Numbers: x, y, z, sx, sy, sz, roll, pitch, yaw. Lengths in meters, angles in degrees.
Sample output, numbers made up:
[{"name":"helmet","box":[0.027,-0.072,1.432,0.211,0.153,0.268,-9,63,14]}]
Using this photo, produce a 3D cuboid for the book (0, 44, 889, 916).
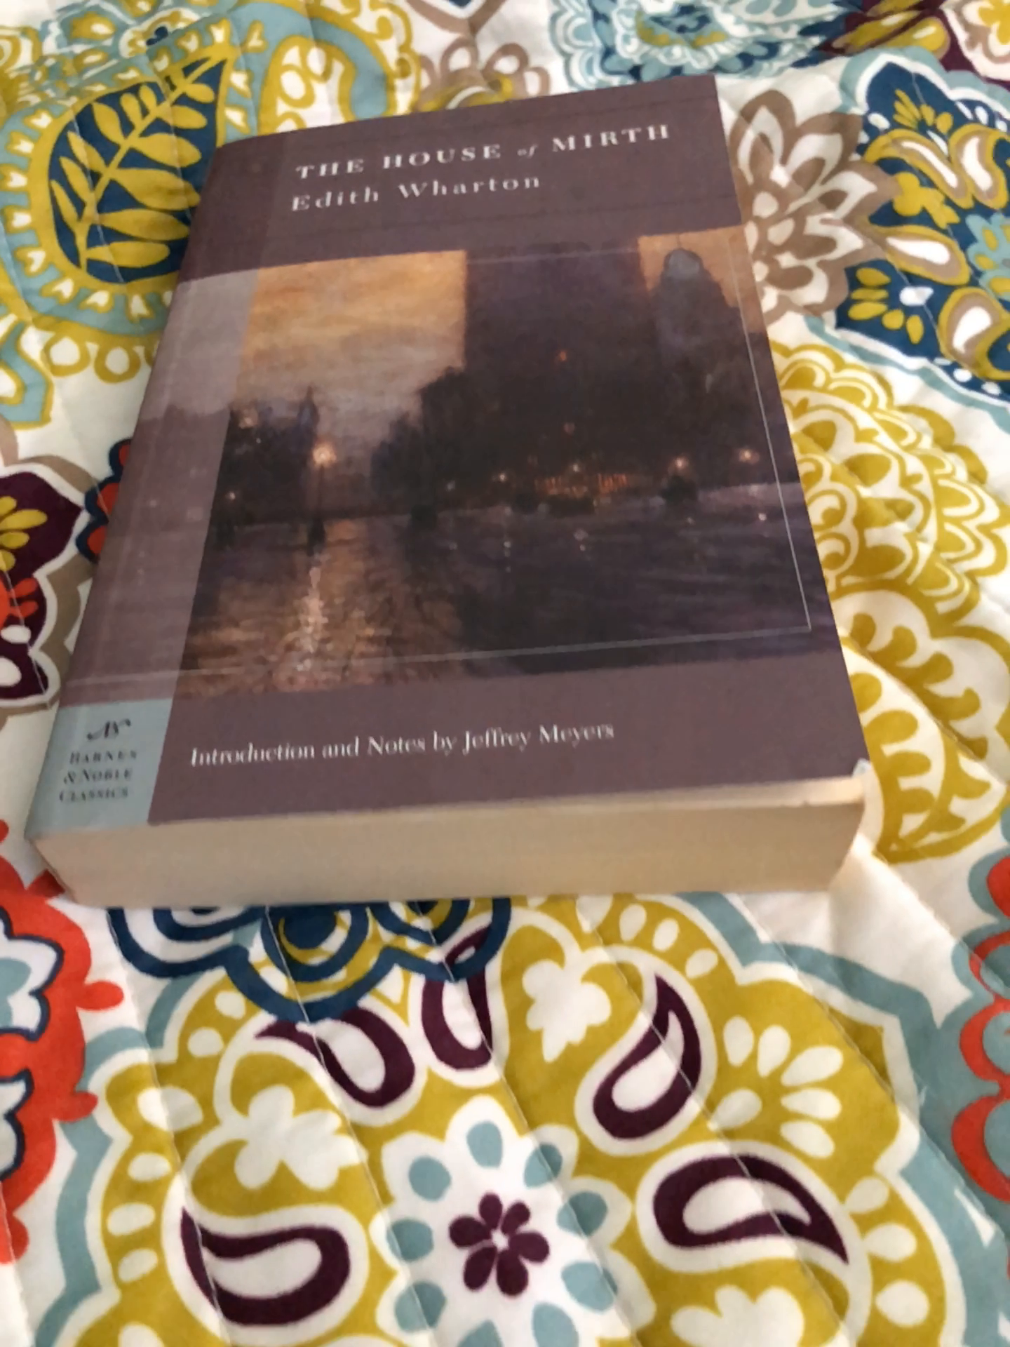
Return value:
[{"name":"book","box":[-0.010,-0.052,0.242,0.141,0.040,0.196,-4,58,7]}]
